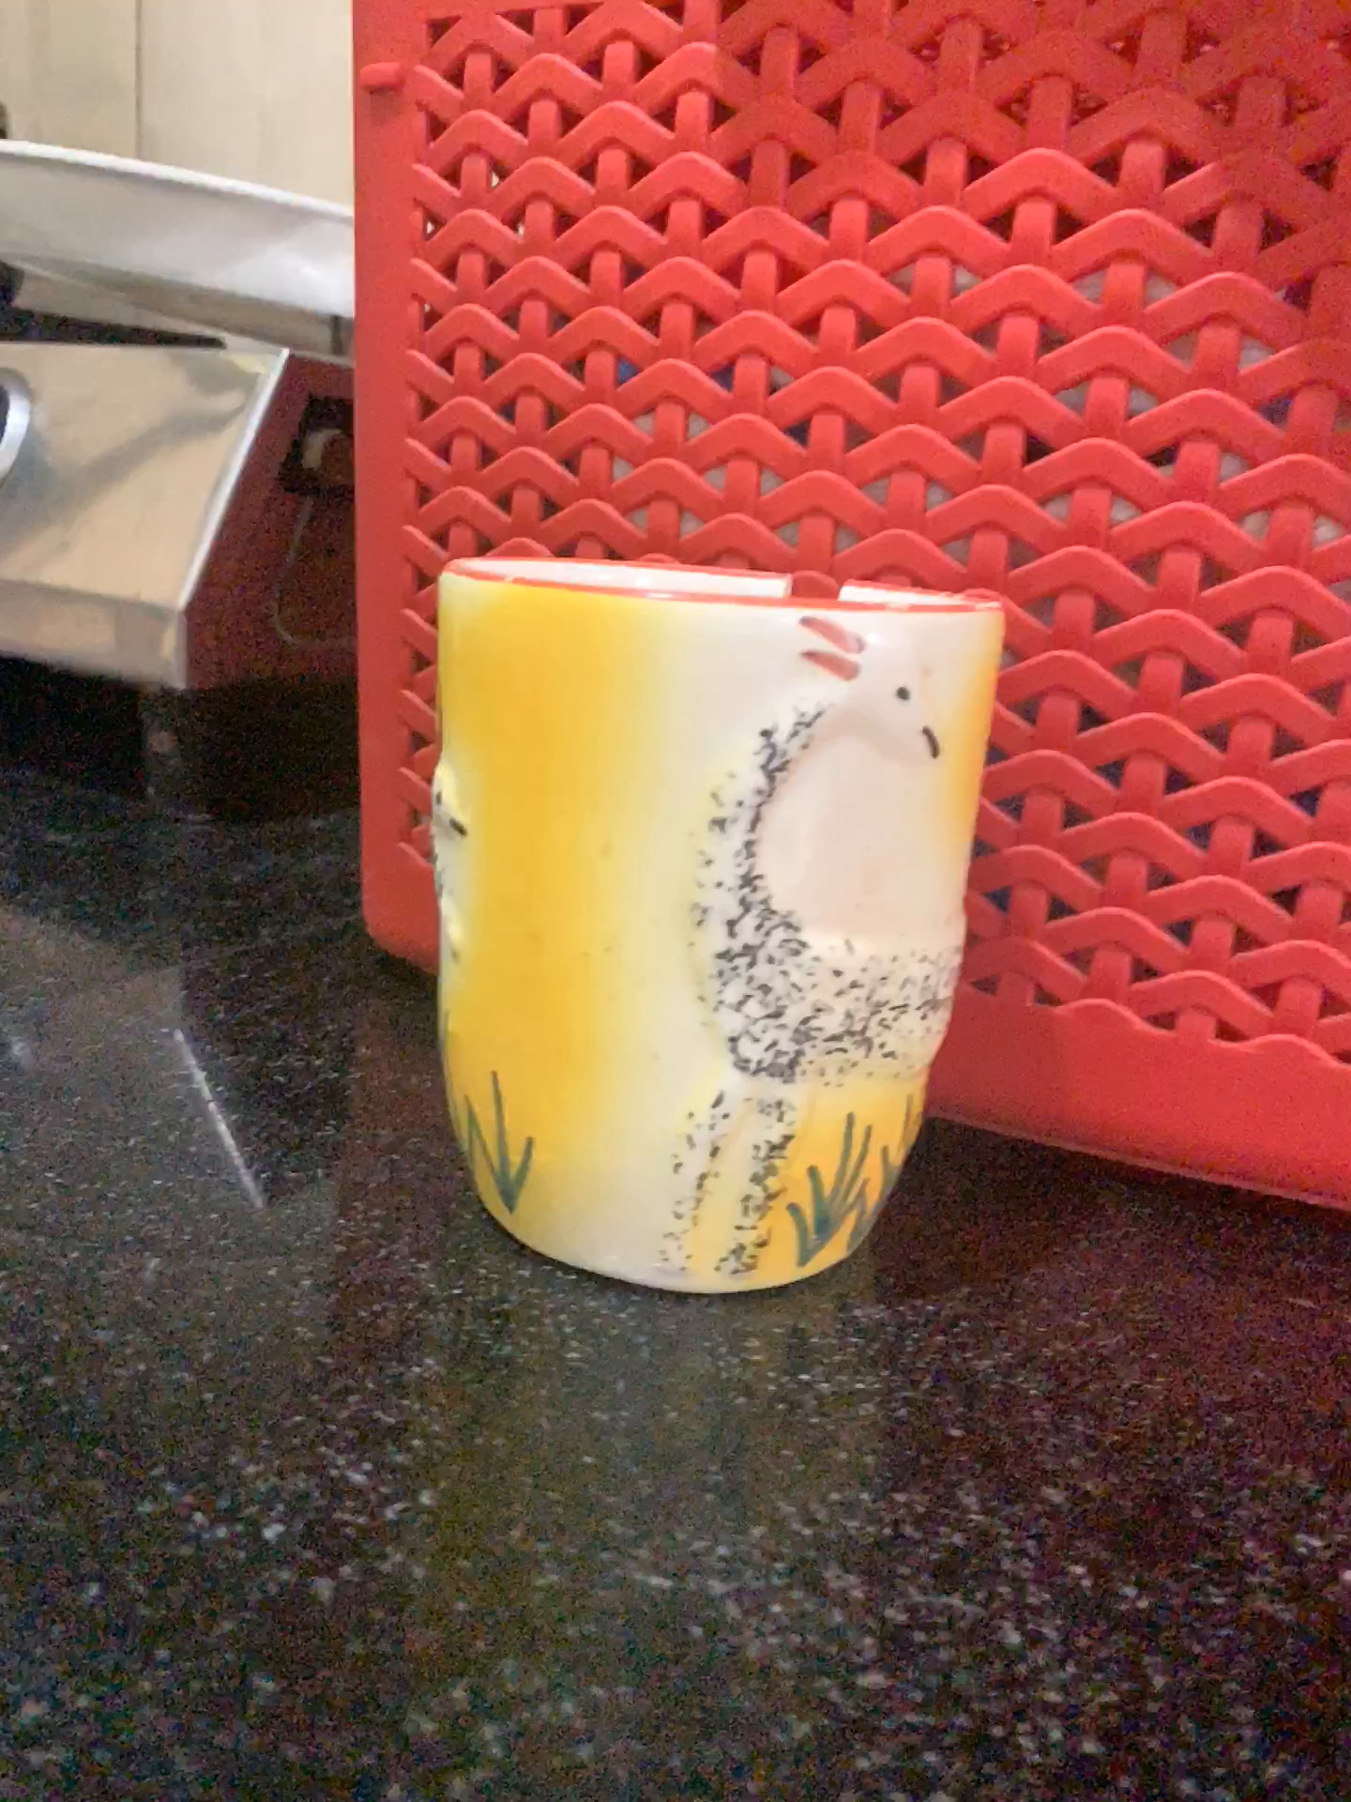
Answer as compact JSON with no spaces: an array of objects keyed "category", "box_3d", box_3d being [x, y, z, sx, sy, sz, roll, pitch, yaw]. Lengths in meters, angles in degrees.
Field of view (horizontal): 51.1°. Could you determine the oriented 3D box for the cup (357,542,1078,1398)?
[{"category":"cup","box_3d":[0.009,0.000,0.220,0.080,0.099,0.080,6,15,-1]}]
